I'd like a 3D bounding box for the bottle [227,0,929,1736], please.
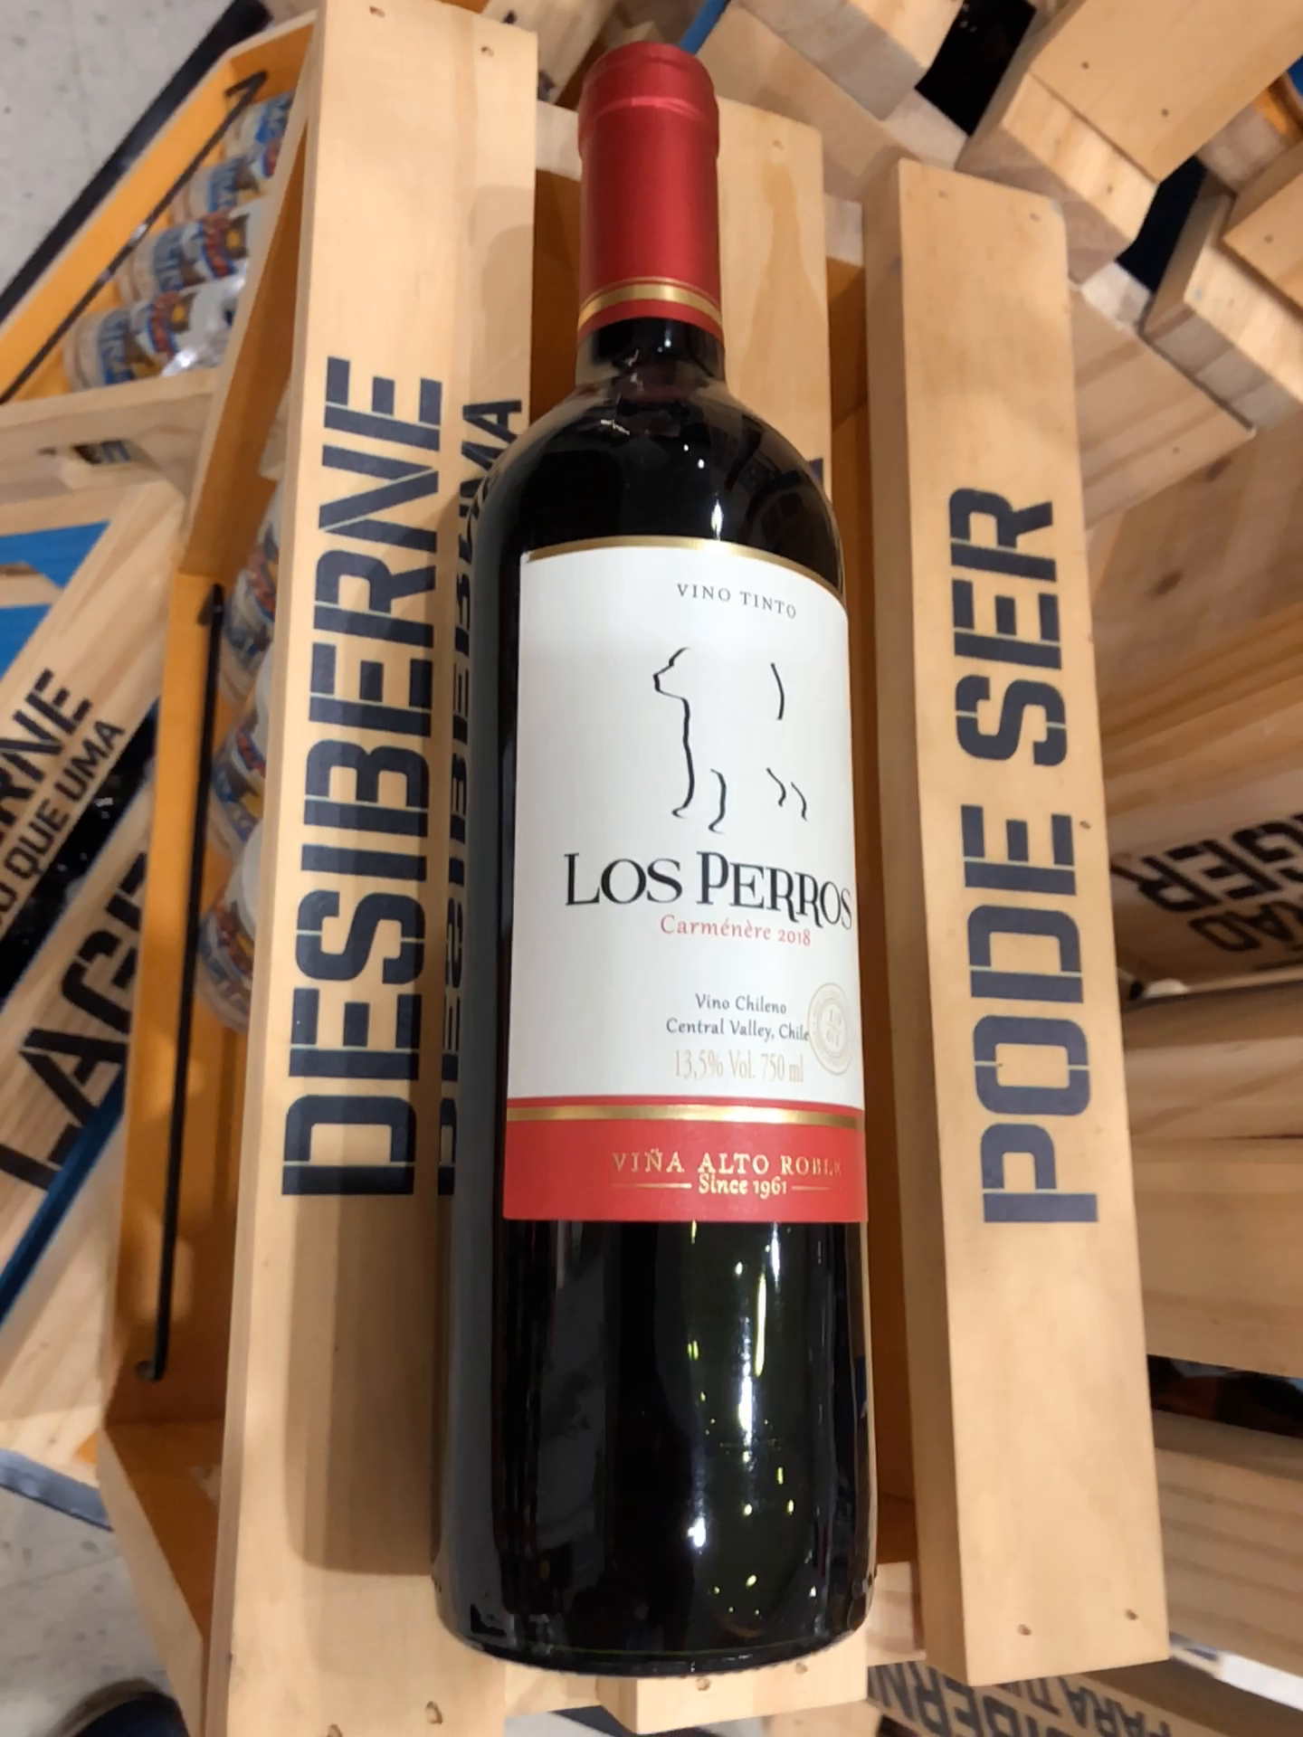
[{"bbox_3d":[-0.012,-0.027,0.250,0.090,0.060,0.310,6,77,-24],"label":"bottle"}]
